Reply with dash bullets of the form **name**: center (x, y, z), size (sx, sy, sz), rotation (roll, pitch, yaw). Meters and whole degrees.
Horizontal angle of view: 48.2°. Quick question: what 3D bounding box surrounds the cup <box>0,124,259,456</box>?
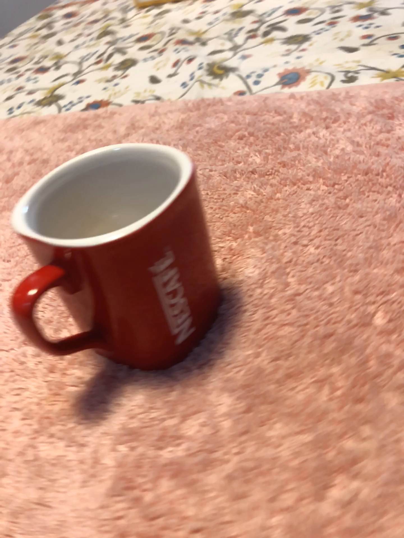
- **cup**: center (-0.035, 0.000, 0.183), size (0.070, 0.070, 0.100), rotation (16, 50, 31)
